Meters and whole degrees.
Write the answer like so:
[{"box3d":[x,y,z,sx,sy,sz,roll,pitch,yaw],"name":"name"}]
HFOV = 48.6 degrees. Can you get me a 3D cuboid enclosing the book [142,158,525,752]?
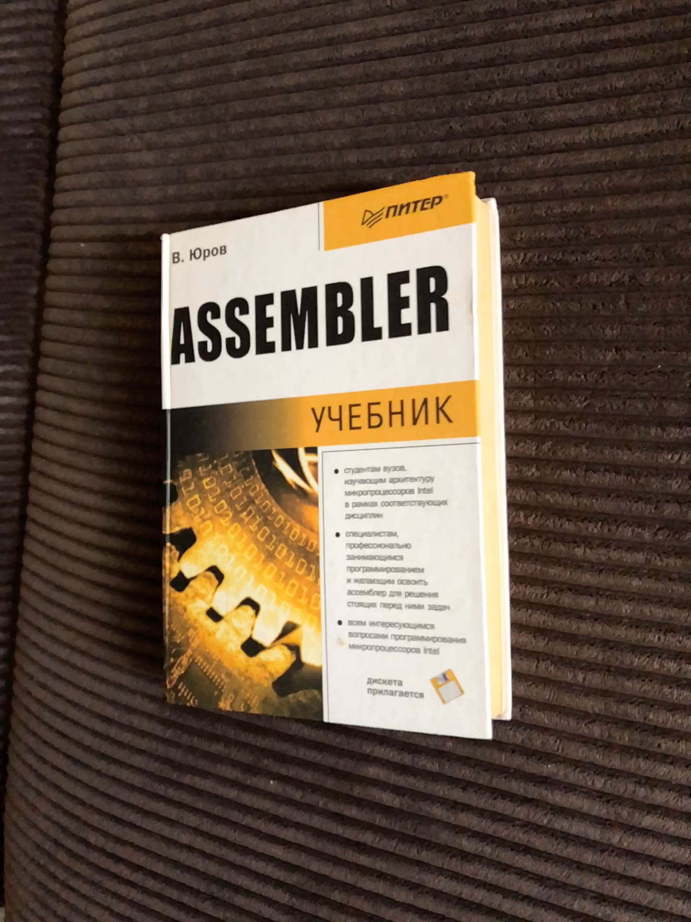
[{"box3d":[-0.010,0.000,0.365,0.170,0.058,0.236,-3,85,24],"name":"book"}]
